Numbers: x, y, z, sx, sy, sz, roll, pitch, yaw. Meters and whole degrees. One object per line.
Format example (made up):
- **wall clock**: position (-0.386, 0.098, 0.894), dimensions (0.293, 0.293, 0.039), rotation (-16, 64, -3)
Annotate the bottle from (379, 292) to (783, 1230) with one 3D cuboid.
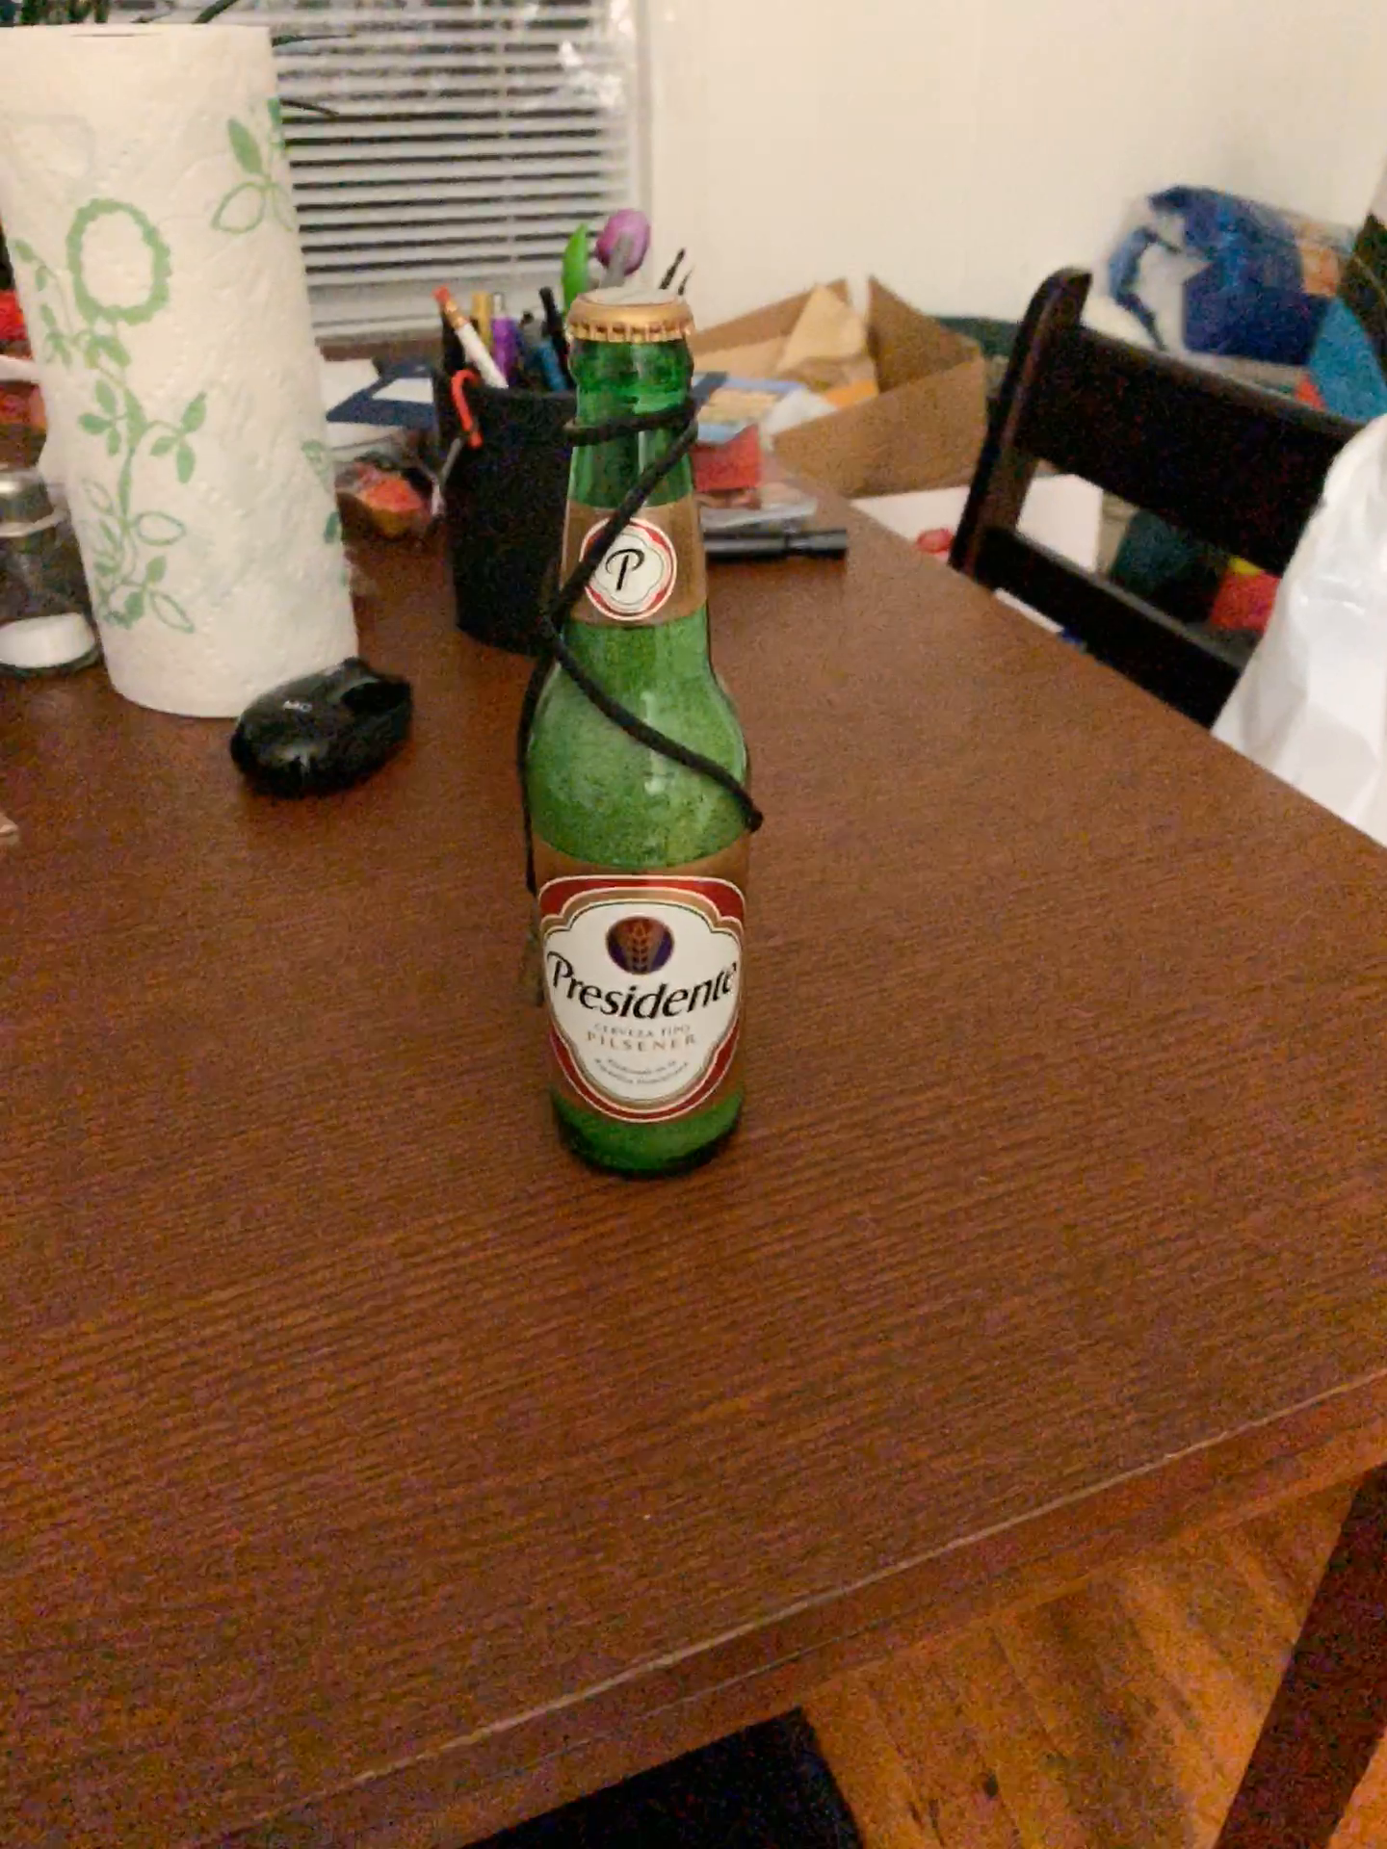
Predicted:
- **bottle**: position (-0.021, -0.032, 0.379), dimensions (0.080, 0.239, 0.070), rotation (1, 34, 2)
